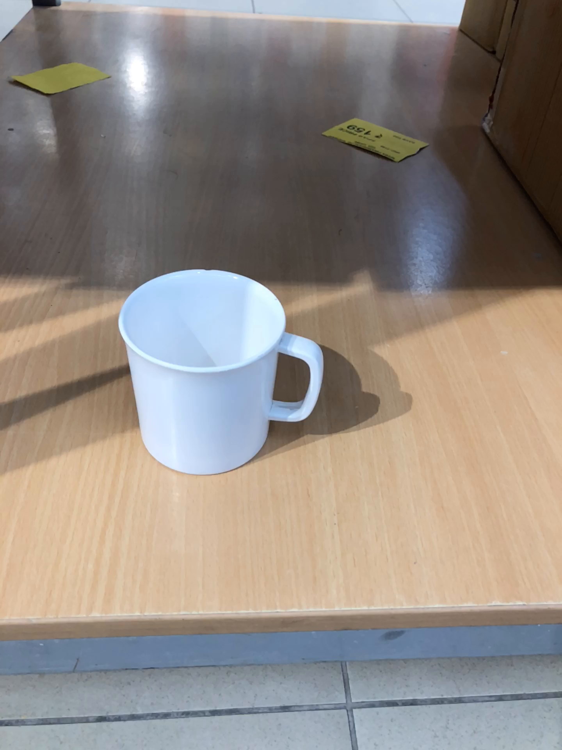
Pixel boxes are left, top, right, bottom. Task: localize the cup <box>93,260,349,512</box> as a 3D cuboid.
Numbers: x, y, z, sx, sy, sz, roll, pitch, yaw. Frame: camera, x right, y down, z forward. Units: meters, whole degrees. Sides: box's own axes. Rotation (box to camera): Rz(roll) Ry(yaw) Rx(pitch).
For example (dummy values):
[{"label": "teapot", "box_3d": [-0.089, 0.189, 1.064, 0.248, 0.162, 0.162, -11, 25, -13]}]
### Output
[{"label": "cup", "box_3d": [-0.028, 0.005, 0.341, 0.110, 0.089, 0.081, 11, 42, 6]}]
